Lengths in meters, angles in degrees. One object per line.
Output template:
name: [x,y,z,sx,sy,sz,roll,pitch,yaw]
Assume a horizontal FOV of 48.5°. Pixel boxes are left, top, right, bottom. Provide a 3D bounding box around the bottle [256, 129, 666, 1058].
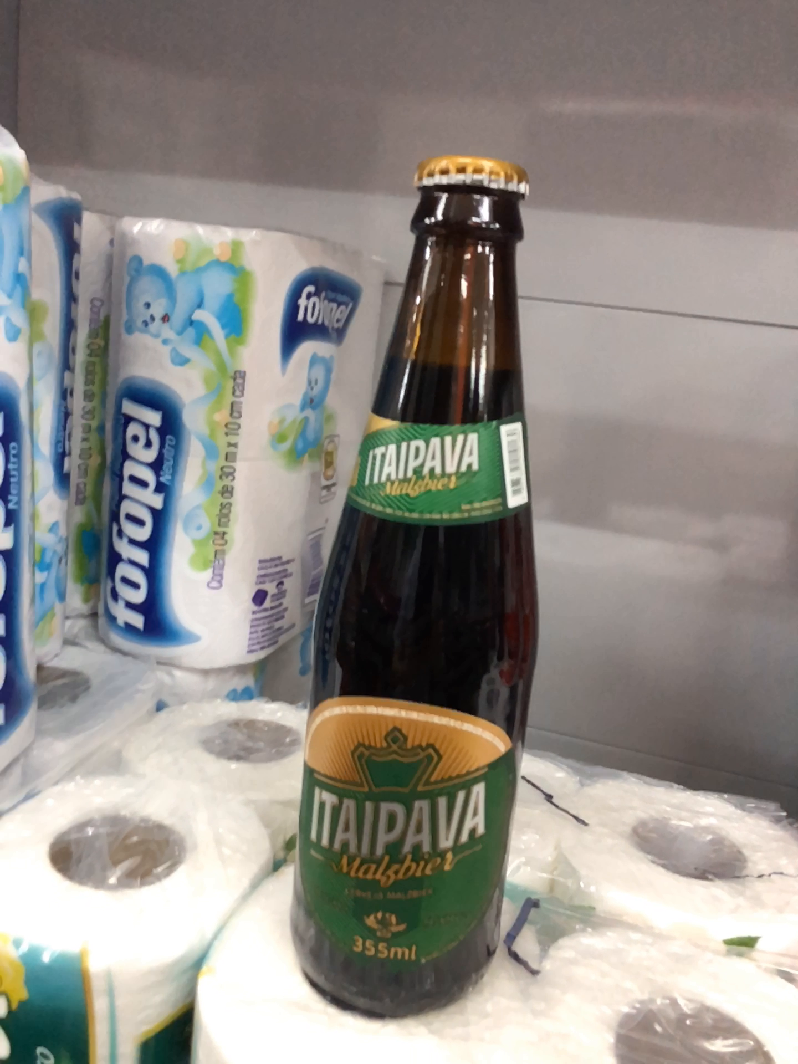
bottle: [0.013,0.018,0.238,0.070,0.219,0.060,9,14,8]
